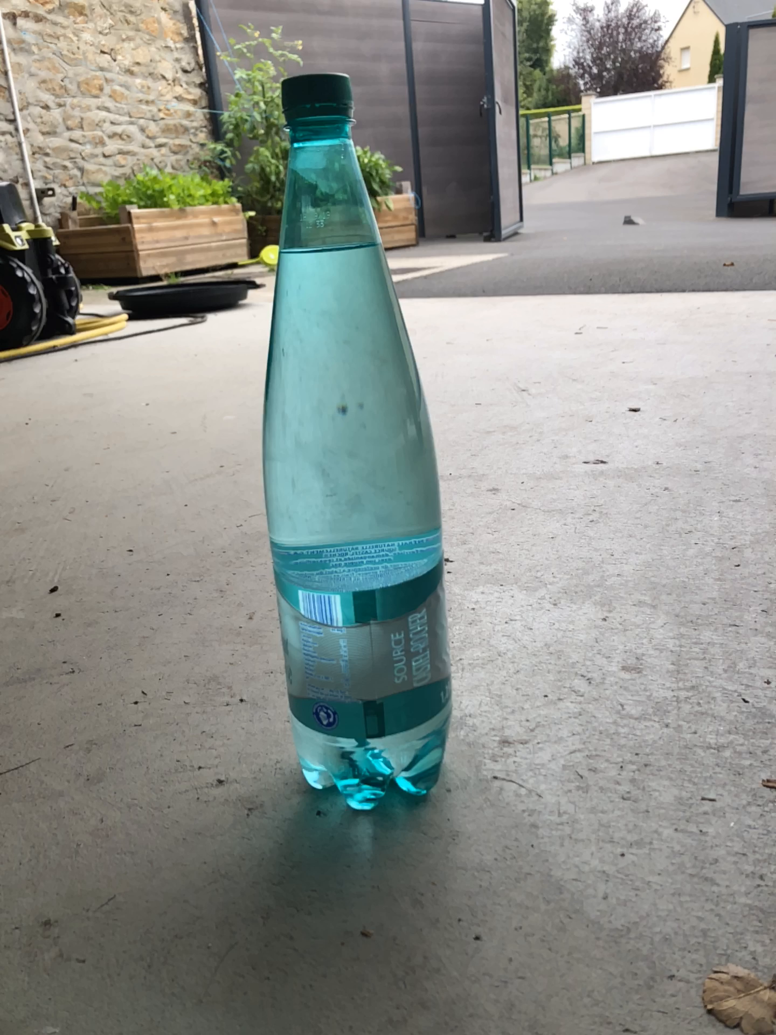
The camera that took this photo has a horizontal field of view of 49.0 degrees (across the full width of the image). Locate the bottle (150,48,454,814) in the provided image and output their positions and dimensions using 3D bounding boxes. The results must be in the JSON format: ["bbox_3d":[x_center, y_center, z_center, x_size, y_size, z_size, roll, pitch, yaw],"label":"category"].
[{"bbox_3d":[-0.024,-0.028,0.400,0.090,0.319,0.100,-3,19,5],"label":"bottle"}]
